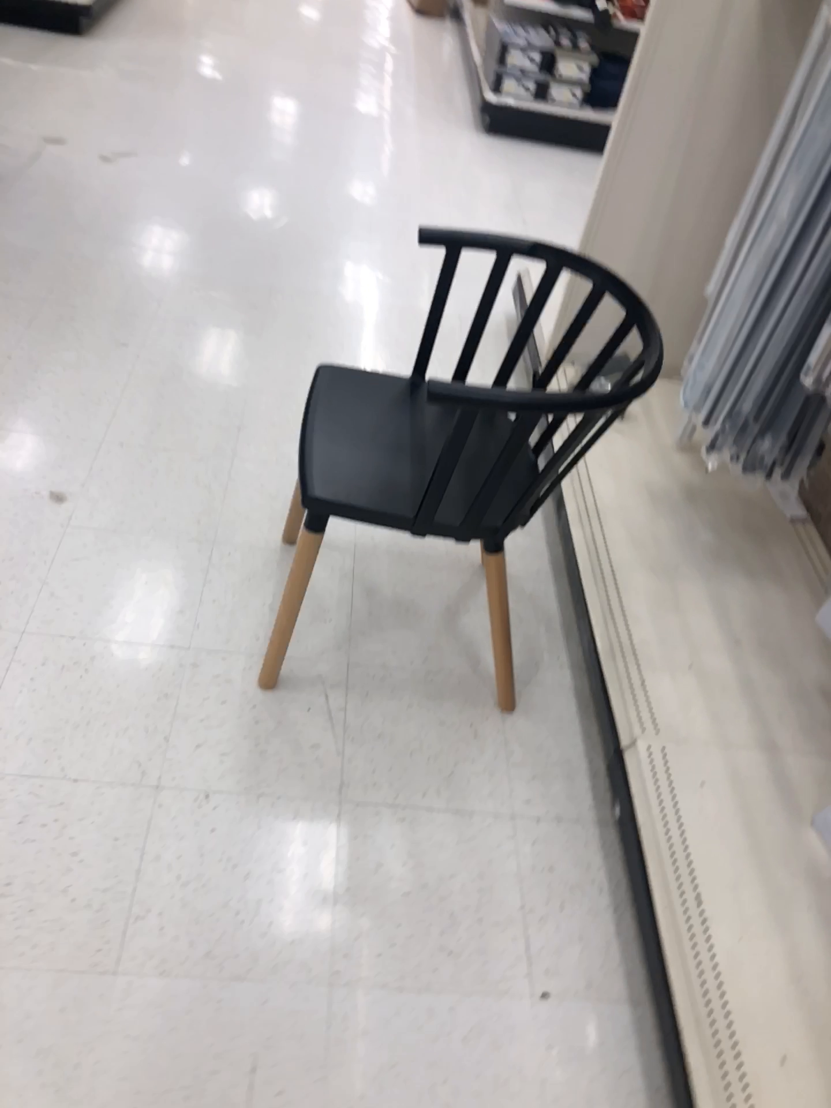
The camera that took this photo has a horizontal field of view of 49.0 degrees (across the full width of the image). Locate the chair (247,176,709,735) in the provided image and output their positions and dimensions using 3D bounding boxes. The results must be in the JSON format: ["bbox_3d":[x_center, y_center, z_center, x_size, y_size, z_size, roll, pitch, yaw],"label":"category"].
[{"bbox_3d":[0.047,-0.154,1.611,0.567,0.730,0.537,8,41,-6],"label":"chair"}]
